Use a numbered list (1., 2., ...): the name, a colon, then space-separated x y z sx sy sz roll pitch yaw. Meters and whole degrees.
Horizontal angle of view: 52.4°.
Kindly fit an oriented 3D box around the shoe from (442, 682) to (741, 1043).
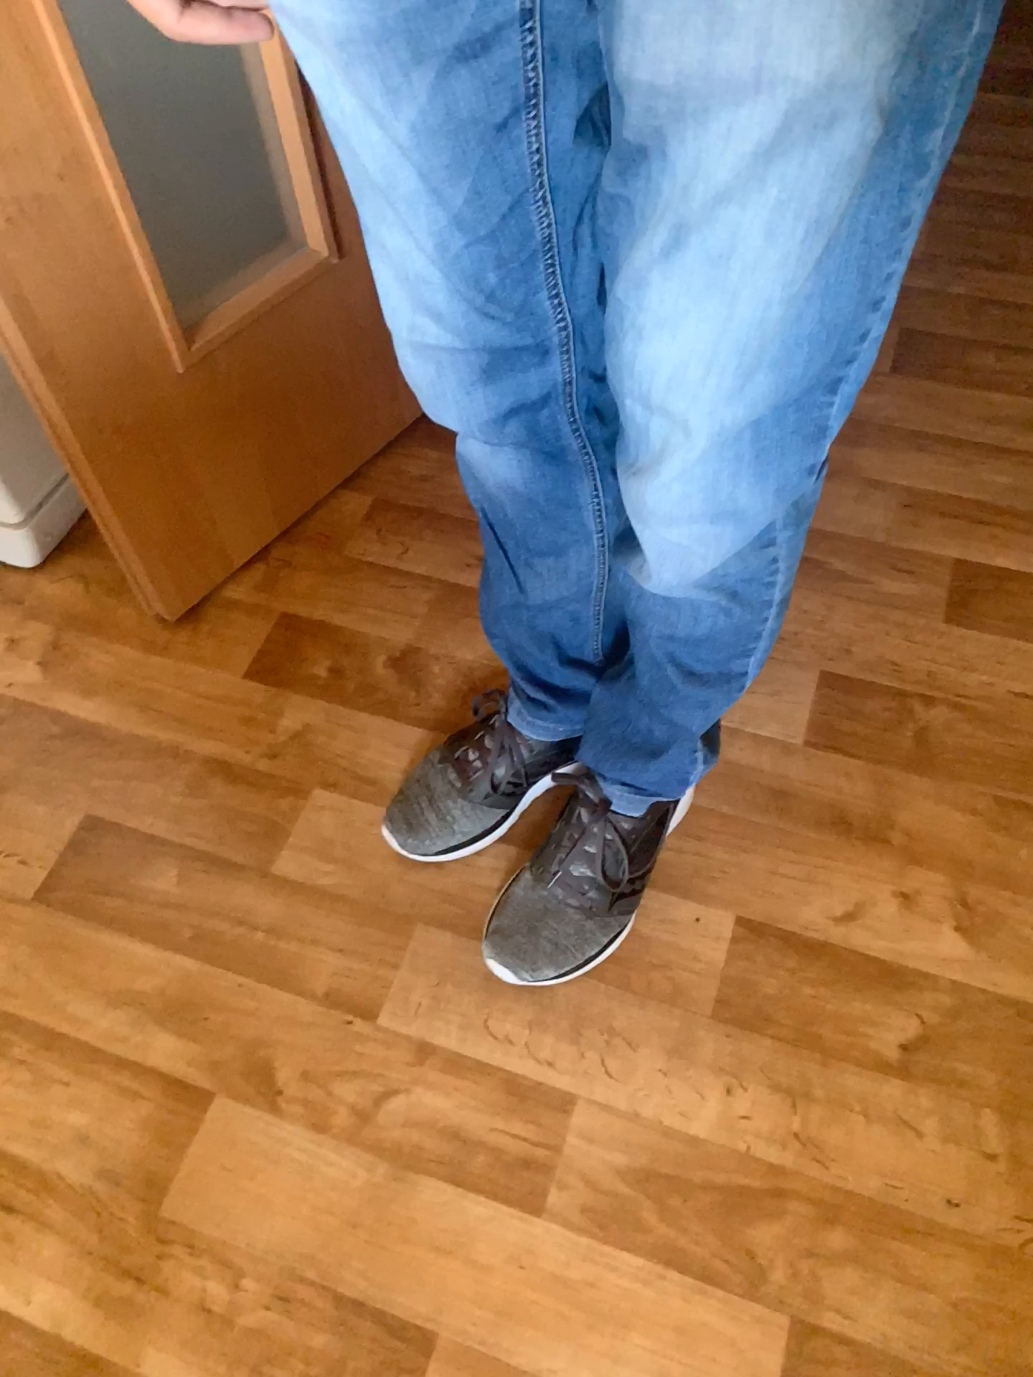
1. shoe: 0.075 0.153 0.972 0.134 0.100 0.291 27 61 21

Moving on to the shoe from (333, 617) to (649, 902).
1. shoe: -0.020 0.066 1.038 0.280 0.100 0.124 -31 59 -17
